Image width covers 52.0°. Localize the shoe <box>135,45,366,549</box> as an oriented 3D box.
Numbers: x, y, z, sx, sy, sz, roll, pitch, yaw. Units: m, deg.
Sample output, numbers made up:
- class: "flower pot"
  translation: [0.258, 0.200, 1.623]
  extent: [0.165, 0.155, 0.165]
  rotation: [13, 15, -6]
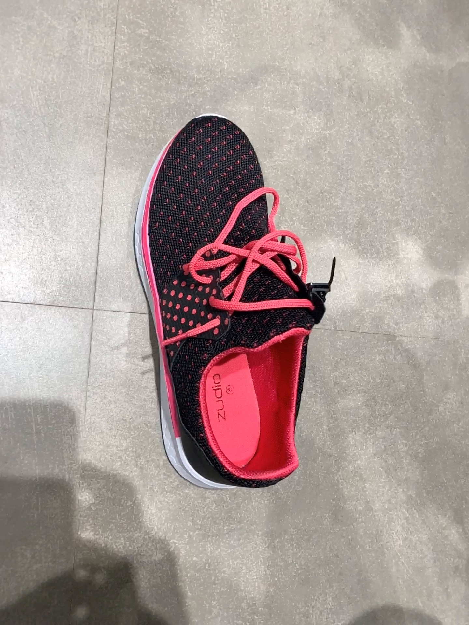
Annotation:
- class: "shoe"
  translation: [0.000, -0.009, 0.319]
  extent: [0.110, 0.110, 0.263]
  rotation: [-1, 85, -20]
